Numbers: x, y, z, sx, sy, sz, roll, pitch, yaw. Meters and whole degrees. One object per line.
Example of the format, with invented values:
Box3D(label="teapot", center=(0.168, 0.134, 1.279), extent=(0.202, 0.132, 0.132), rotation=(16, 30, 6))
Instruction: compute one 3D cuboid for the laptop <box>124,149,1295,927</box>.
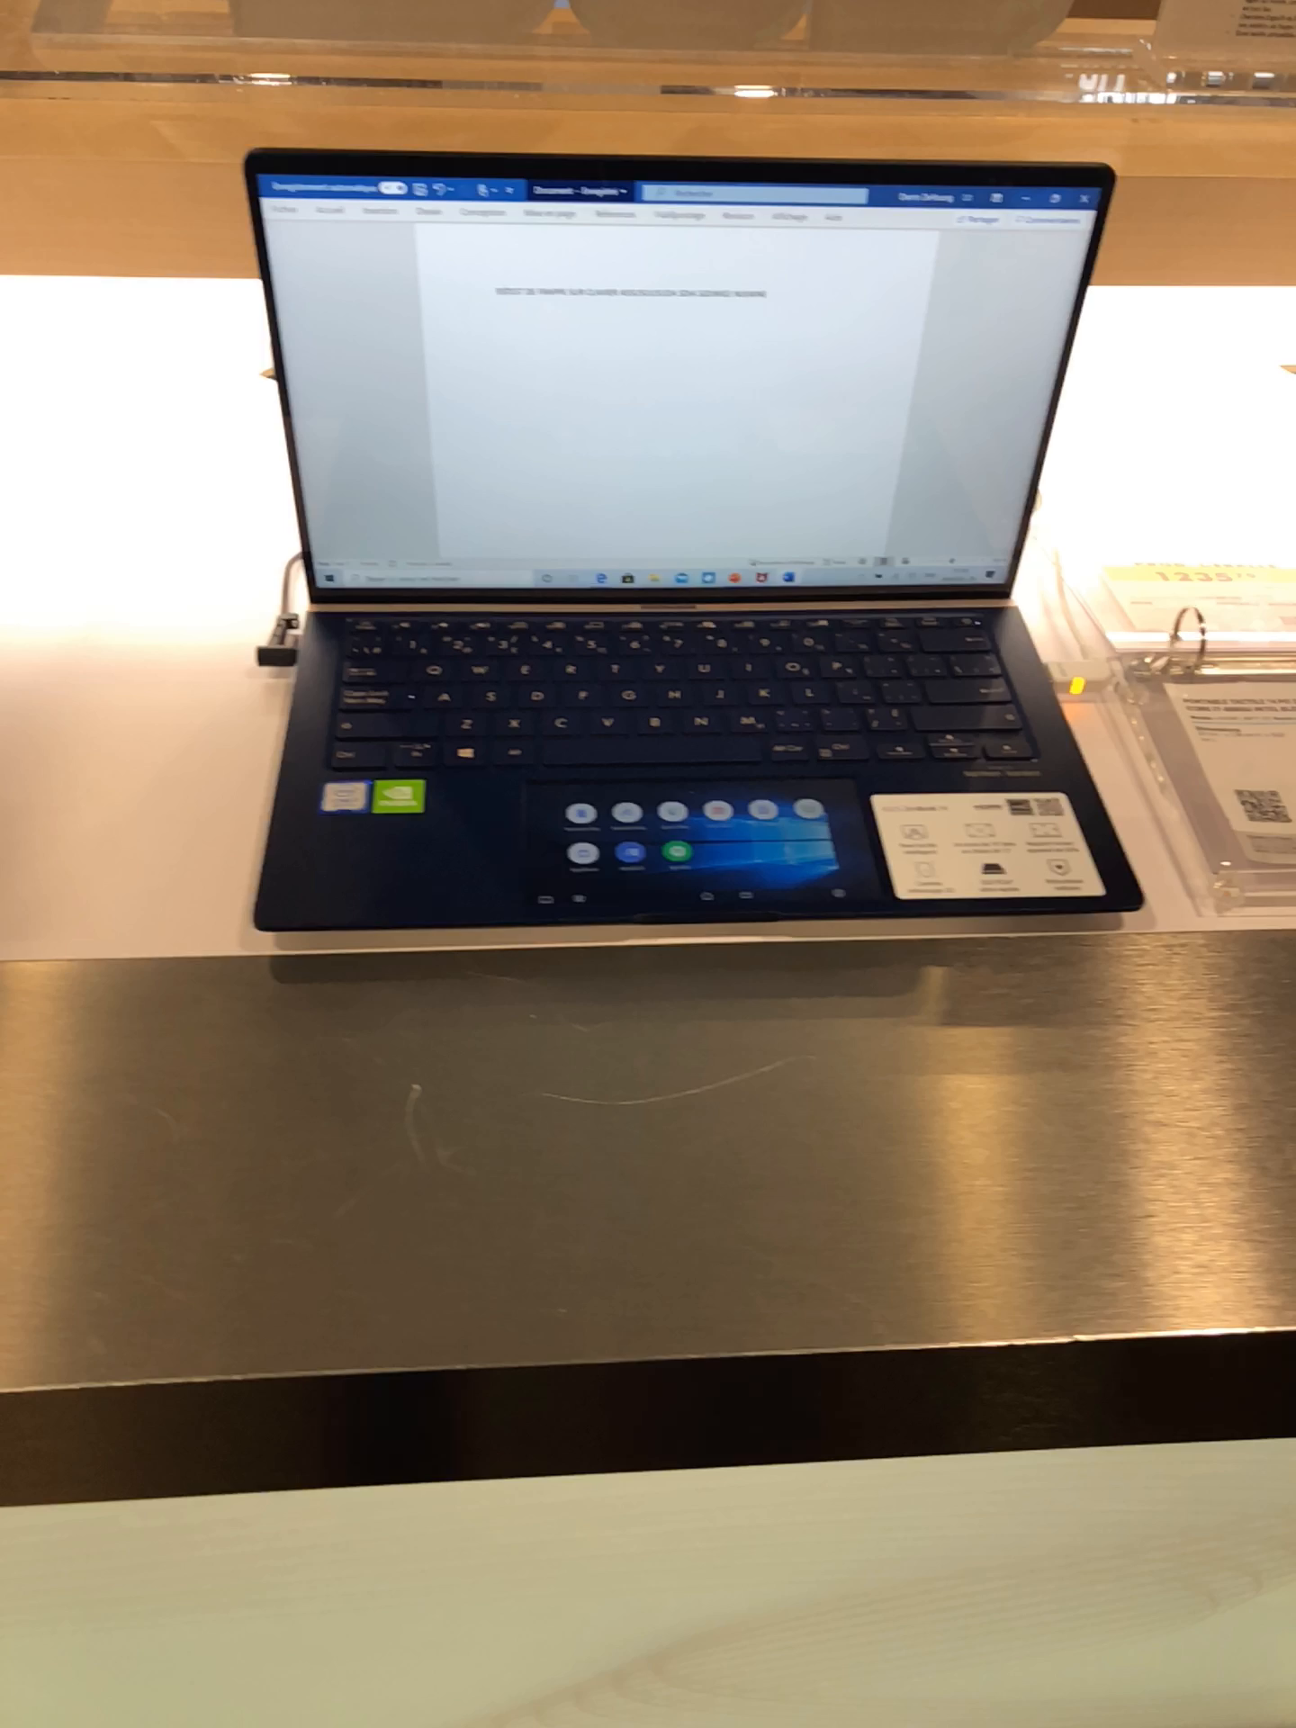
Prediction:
Box3D(label="laptop", center=(0.017, -0.119, 0.508), extent=(0.317, 0.193, 0.200), rotation=(-1, 44, -4))
